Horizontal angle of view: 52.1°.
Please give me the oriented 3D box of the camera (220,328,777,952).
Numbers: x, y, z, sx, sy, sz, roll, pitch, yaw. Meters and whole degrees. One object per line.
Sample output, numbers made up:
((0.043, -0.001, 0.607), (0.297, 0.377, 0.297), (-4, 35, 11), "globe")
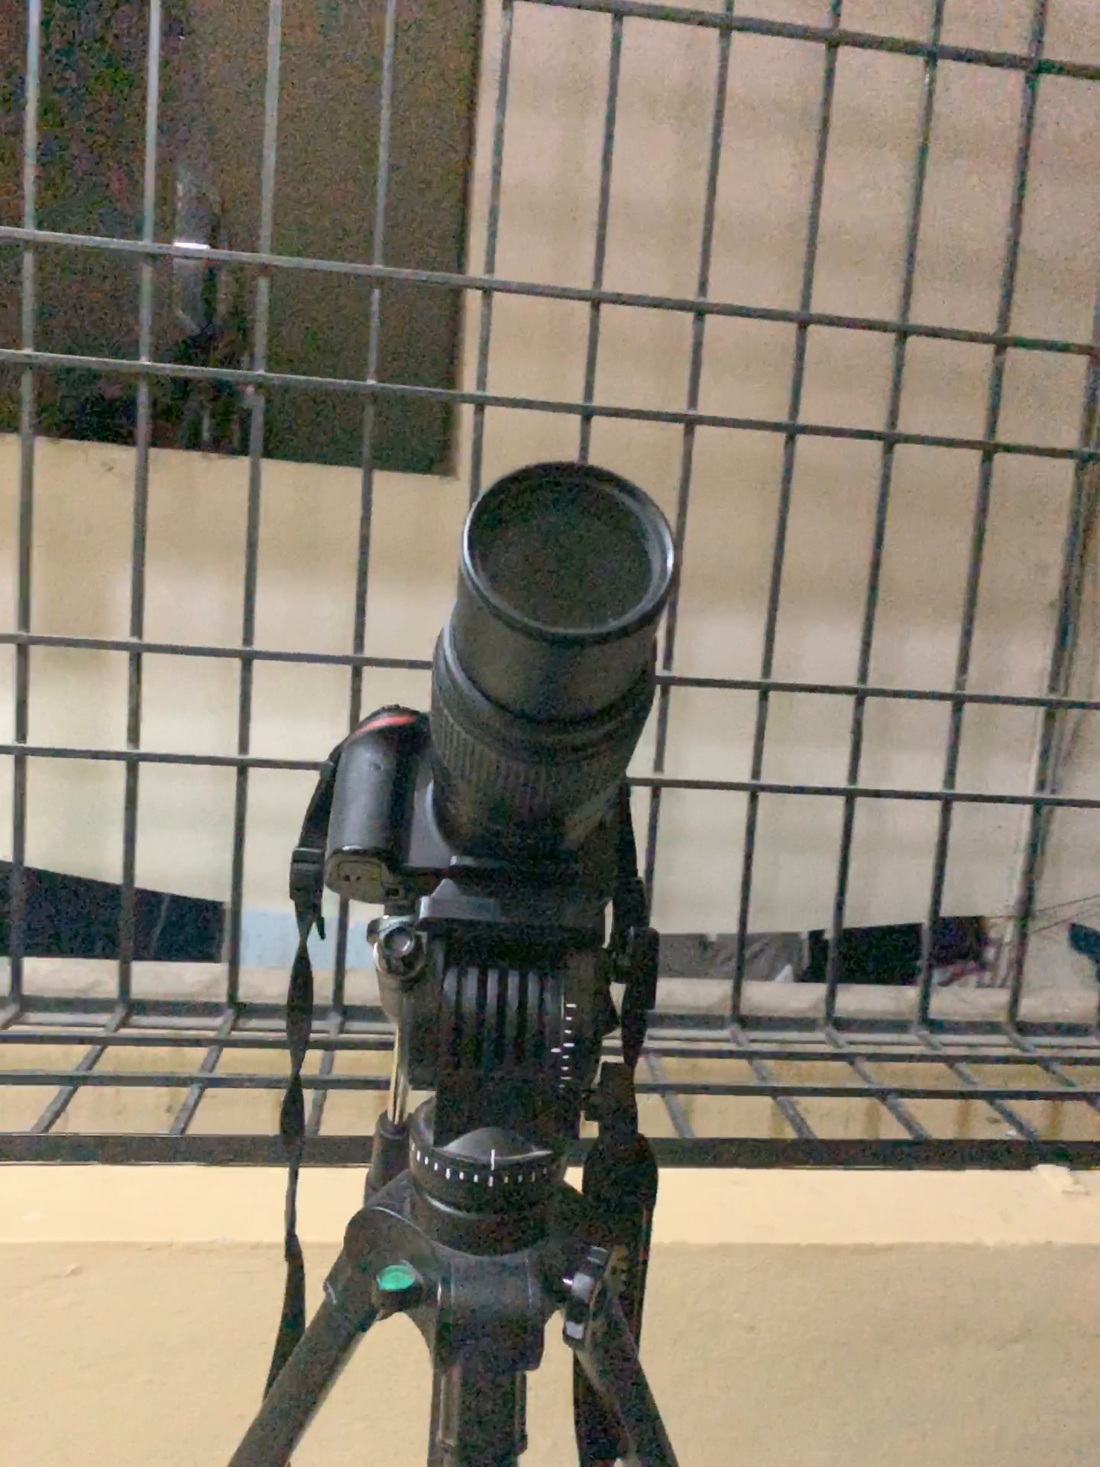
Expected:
((-0.019, -0.014, 0.389), (0.136, 0.101, 0.209), (4, -32, -3), "camera")
